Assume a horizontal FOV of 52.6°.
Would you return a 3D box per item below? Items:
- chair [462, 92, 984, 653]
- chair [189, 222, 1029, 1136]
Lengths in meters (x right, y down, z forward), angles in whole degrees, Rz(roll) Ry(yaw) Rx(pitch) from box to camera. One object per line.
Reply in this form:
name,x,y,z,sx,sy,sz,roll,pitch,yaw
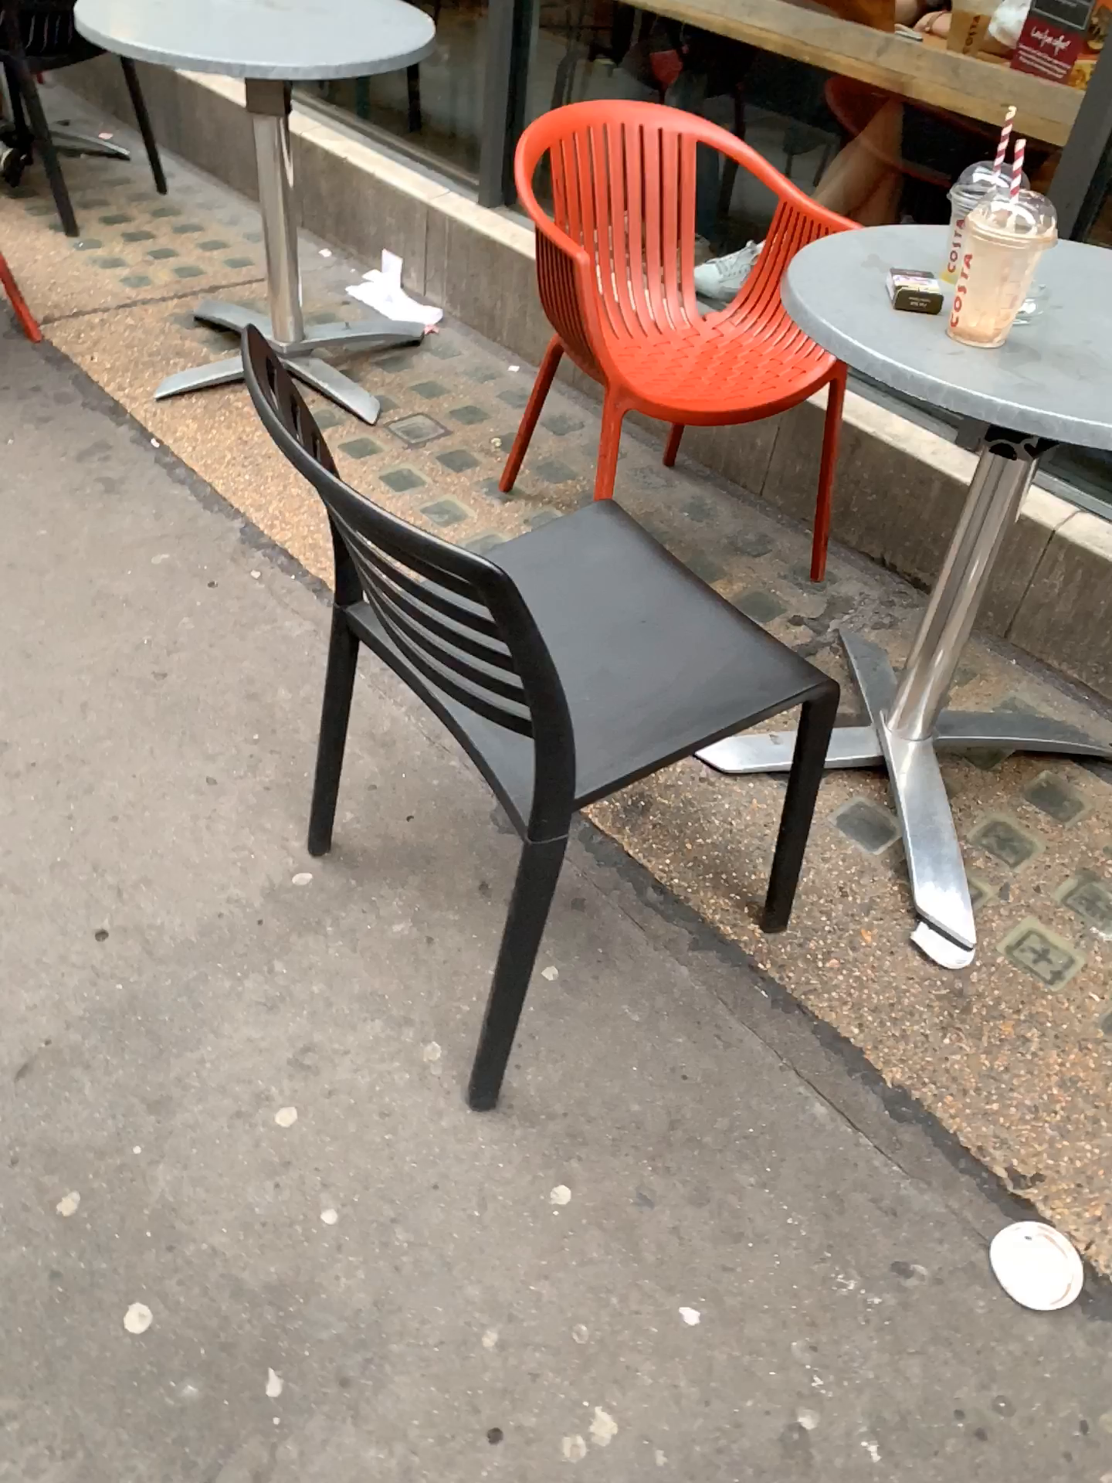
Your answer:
chair,0.234,-0.706,2.097,0.571,0.742,0.645,-15,46,-24
chair,0.008,-0.097,1.328,0.602,0.752,0.554,-22,50,-30
